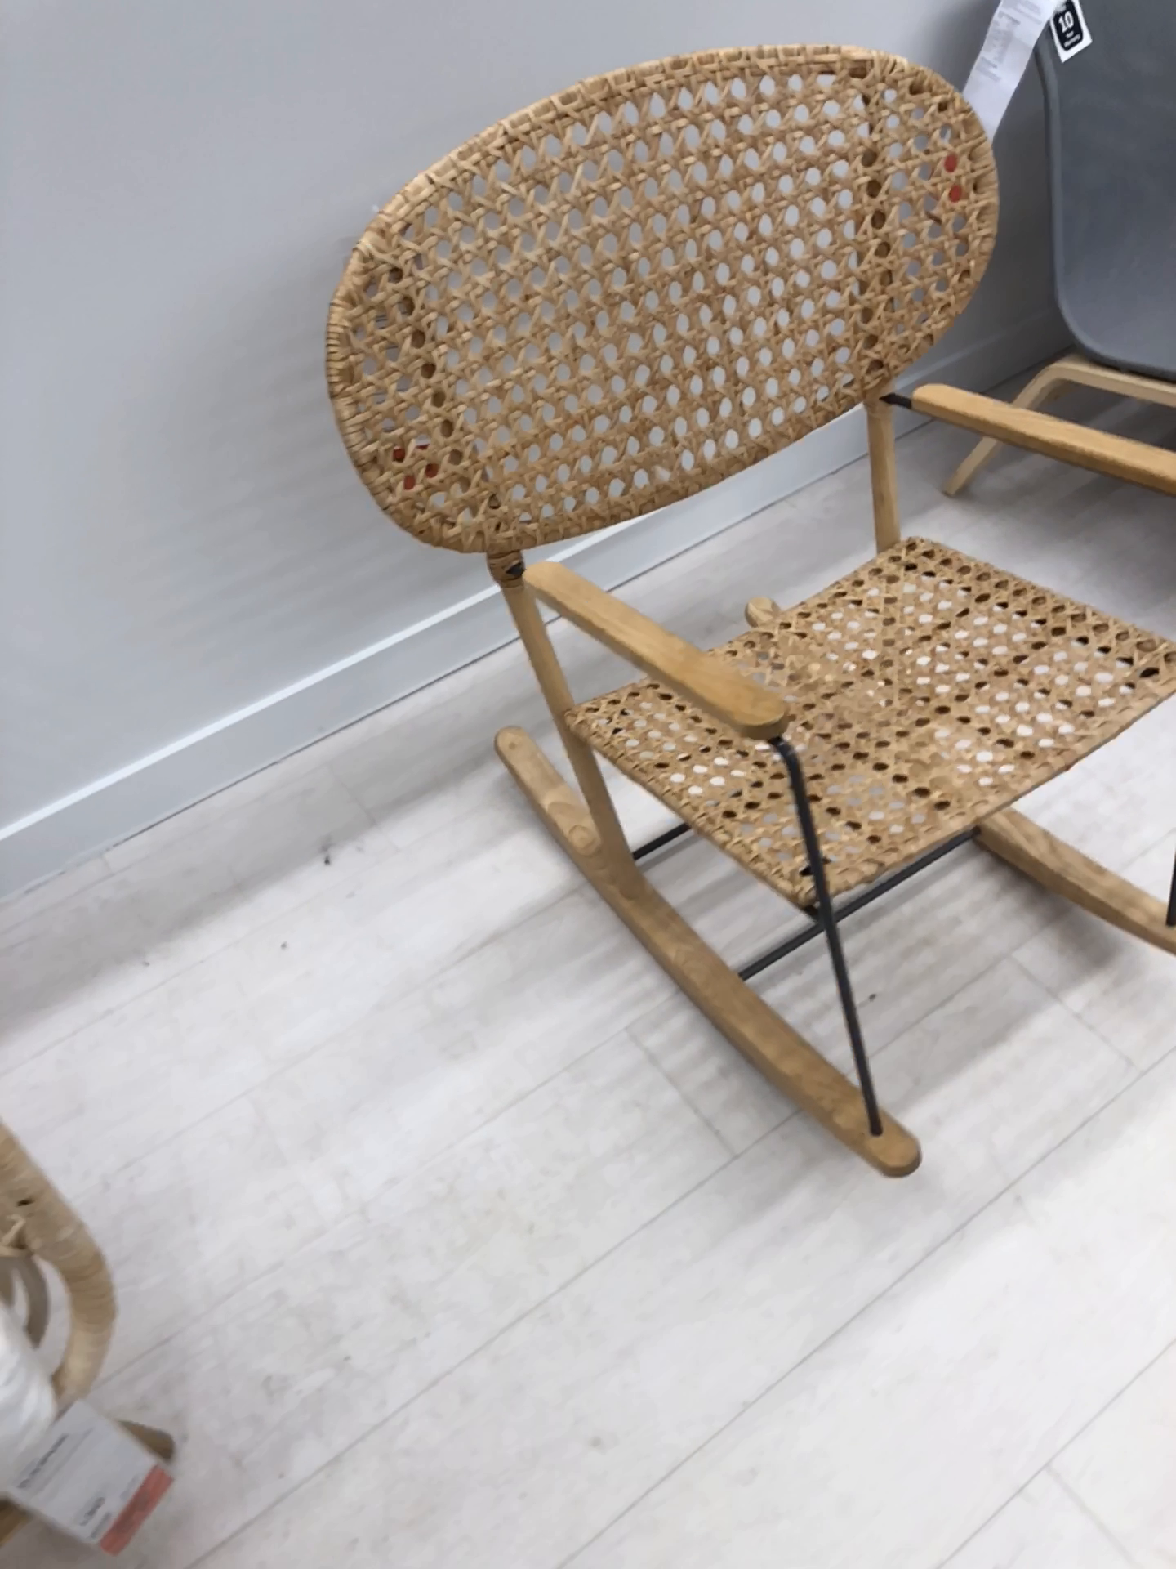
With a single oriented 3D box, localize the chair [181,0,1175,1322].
[{"bbox_3d":[0.241,-0.184,1.338,0.831,0.787,0.852,-28,53,-20],"label":"chair"}]
